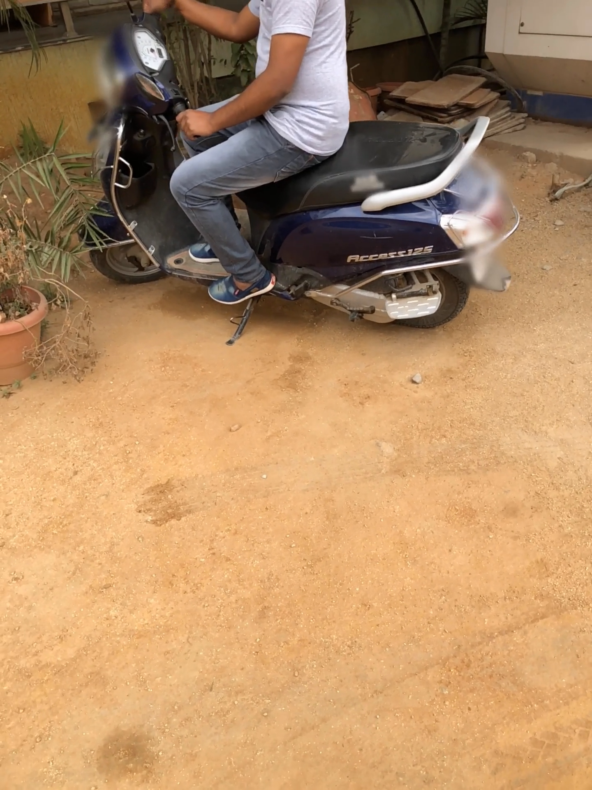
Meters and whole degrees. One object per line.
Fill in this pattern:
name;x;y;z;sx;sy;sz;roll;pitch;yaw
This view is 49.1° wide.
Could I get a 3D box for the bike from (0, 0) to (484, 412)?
bike;-0.198;-0.745;2.340;1.620;1.222;0.591;8;37;18
